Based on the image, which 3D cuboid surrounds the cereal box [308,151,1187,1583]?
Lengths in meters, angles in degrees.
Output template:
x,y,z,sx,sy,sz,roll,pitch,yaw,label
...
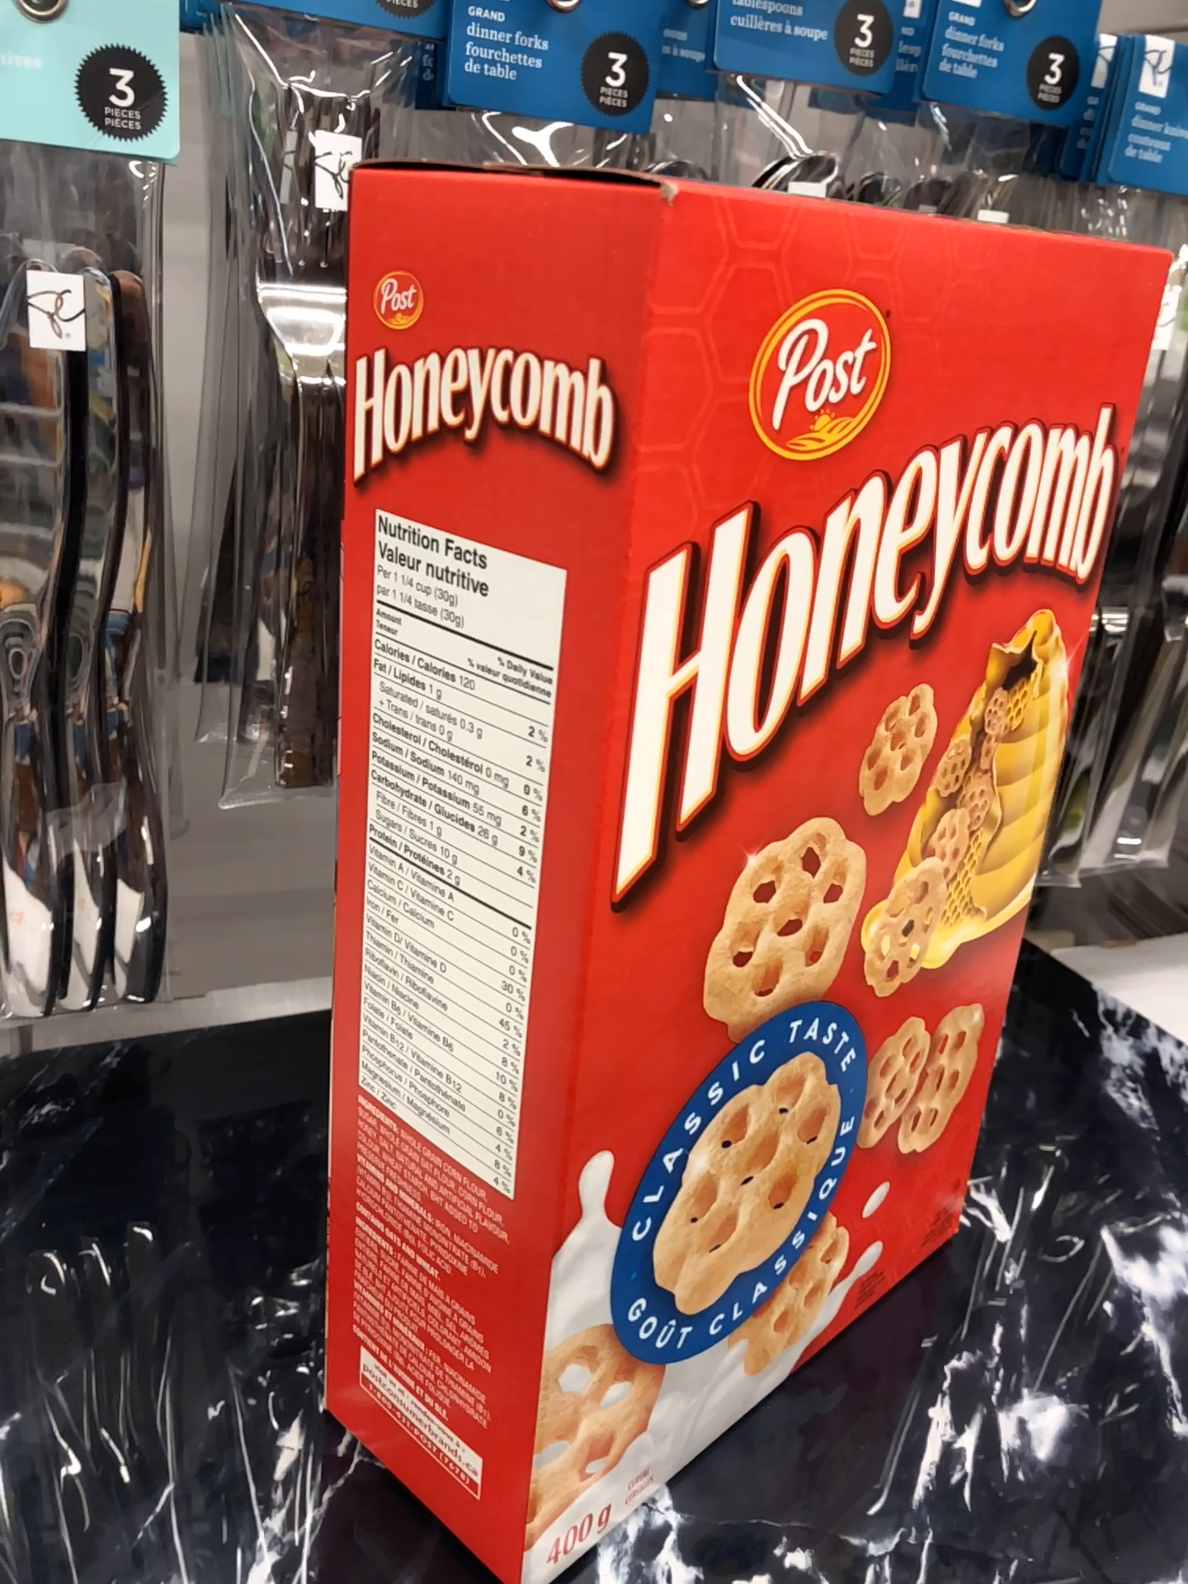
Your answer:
x,y,z,sx,sy,sz,roll,pitch,yaw,label
0.038,0.014,0.336,0.070,0.299,0.210,24,29,39,cereal box
